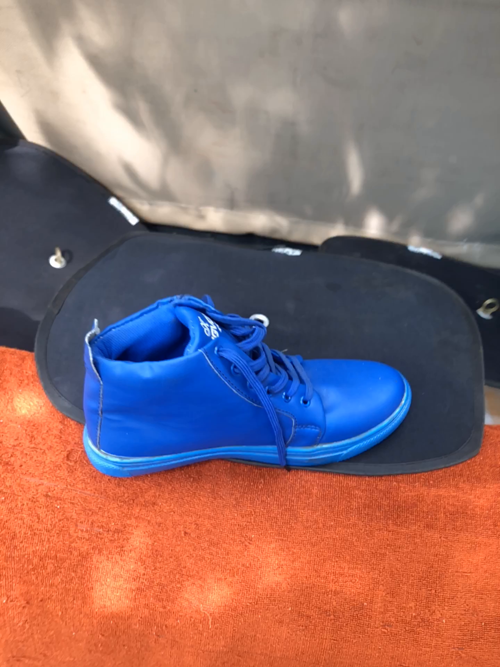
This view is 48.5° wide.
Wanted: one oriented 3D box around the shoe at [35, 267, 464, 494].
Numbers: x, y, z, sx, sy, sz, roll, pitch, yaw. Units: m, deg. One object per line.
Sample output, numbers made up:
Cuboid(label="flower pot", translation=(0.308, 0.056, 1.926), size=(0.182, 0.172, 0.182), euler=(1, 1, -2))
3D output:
Cuboid(label="shoe", translation=(-0.003, 0.038, 0.457), size=(0.290, 0.139, 0.100), euler=(-3, 45, -7))
